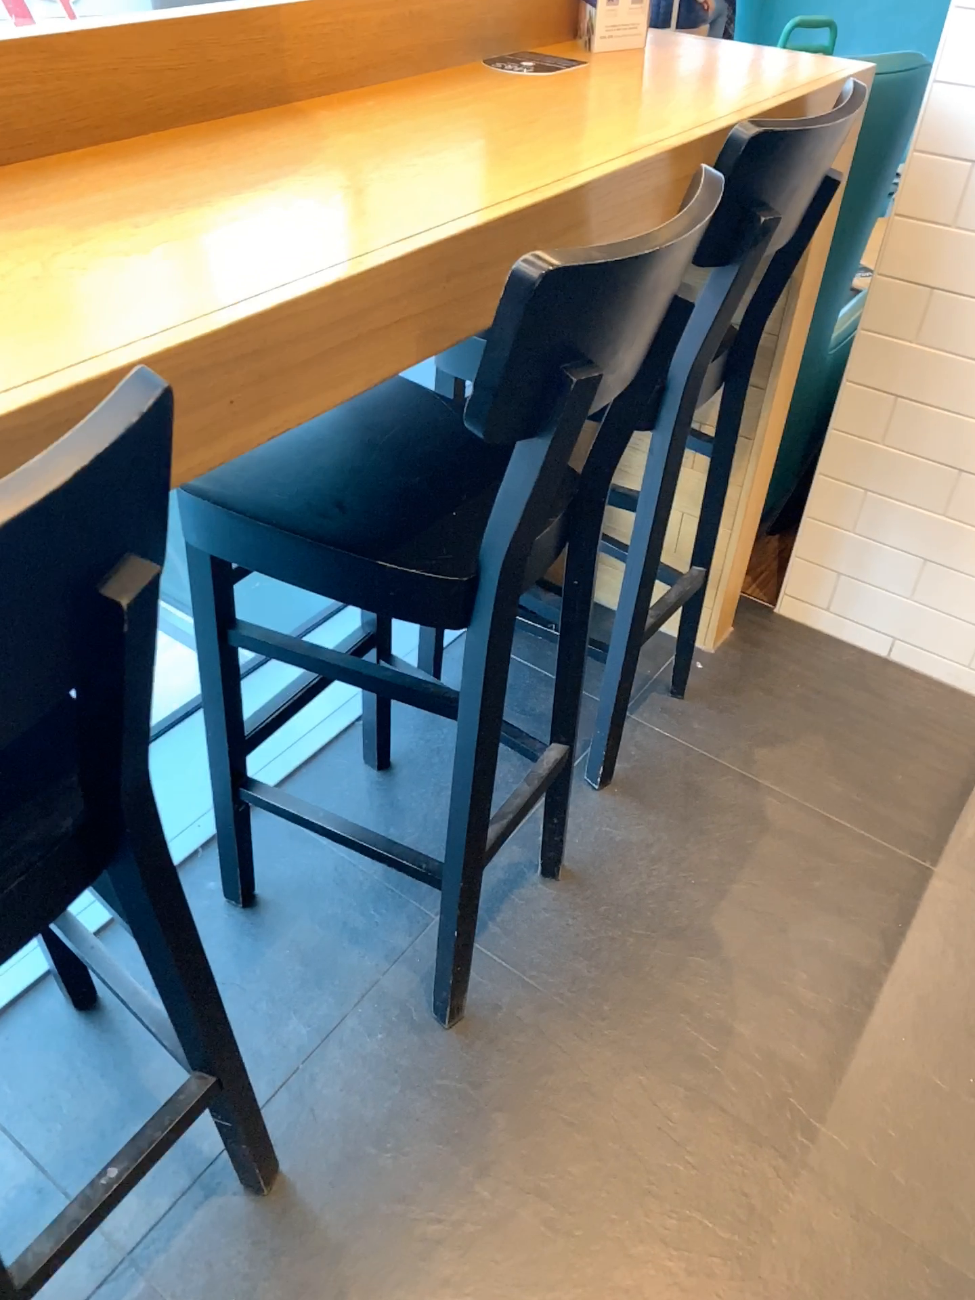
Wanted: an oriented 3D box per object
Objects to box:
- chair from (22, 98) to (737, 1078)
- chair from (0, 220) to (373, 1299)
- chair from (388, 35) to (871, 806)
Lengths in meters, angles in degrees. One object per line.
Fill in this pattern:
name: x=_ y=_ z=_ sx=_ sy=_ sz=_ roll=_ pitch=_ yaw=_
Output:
chair: x=-0.091 y=-0.040 z=1.204 sx=0.461 sy=1.001 sz=0.456 roll=22 pitch=43 yaw=23
chair: x=-0.421 y=0.248 z=0.847 sx=0.462 sy=1.001 sz=0.395 roll=25 pitch=44 yaw=25
chair: x=0.170 y=-0.328 z=1.549 sx=0.461 sy=1.001 sz=0.425 roll=23 pitch=43 yaw=24
